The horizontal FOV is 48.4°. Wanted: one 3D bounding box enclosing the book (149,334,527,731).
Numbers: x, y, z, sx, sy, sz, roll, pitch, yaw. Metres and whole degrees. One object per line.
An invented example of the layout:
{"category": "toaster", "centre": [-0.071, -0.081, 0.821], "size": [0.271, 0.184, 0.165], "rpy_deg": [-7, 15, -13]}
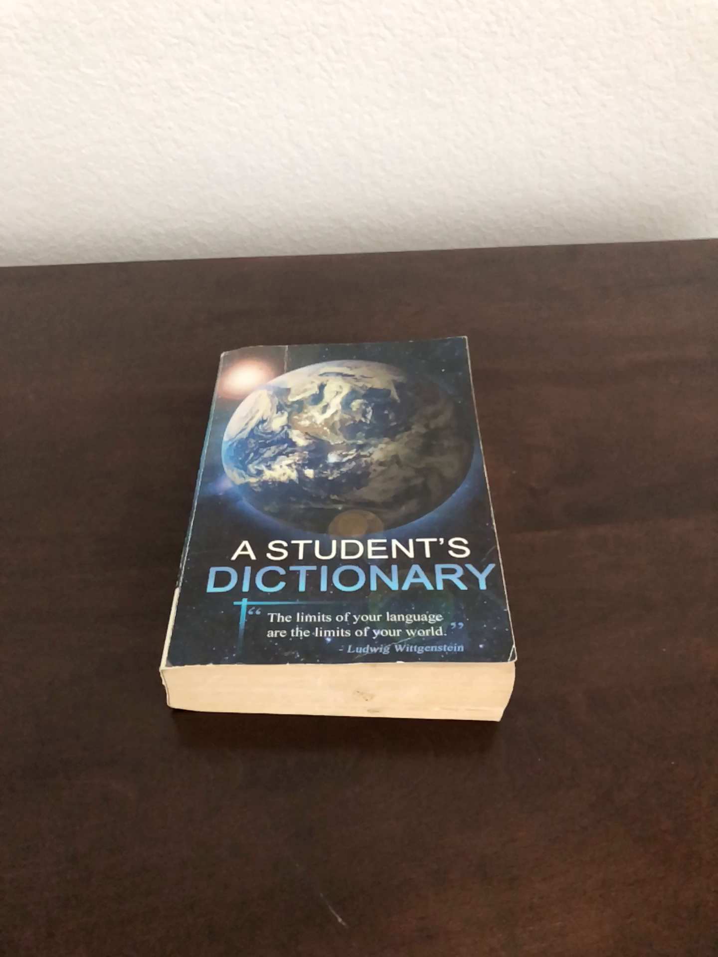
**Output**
{"category": "book", "centre": [-0.008, 0.013, 0.380], "size": [0.140, 0.040, 0.203], "rpy_deg": [-3, 46, 3]}
